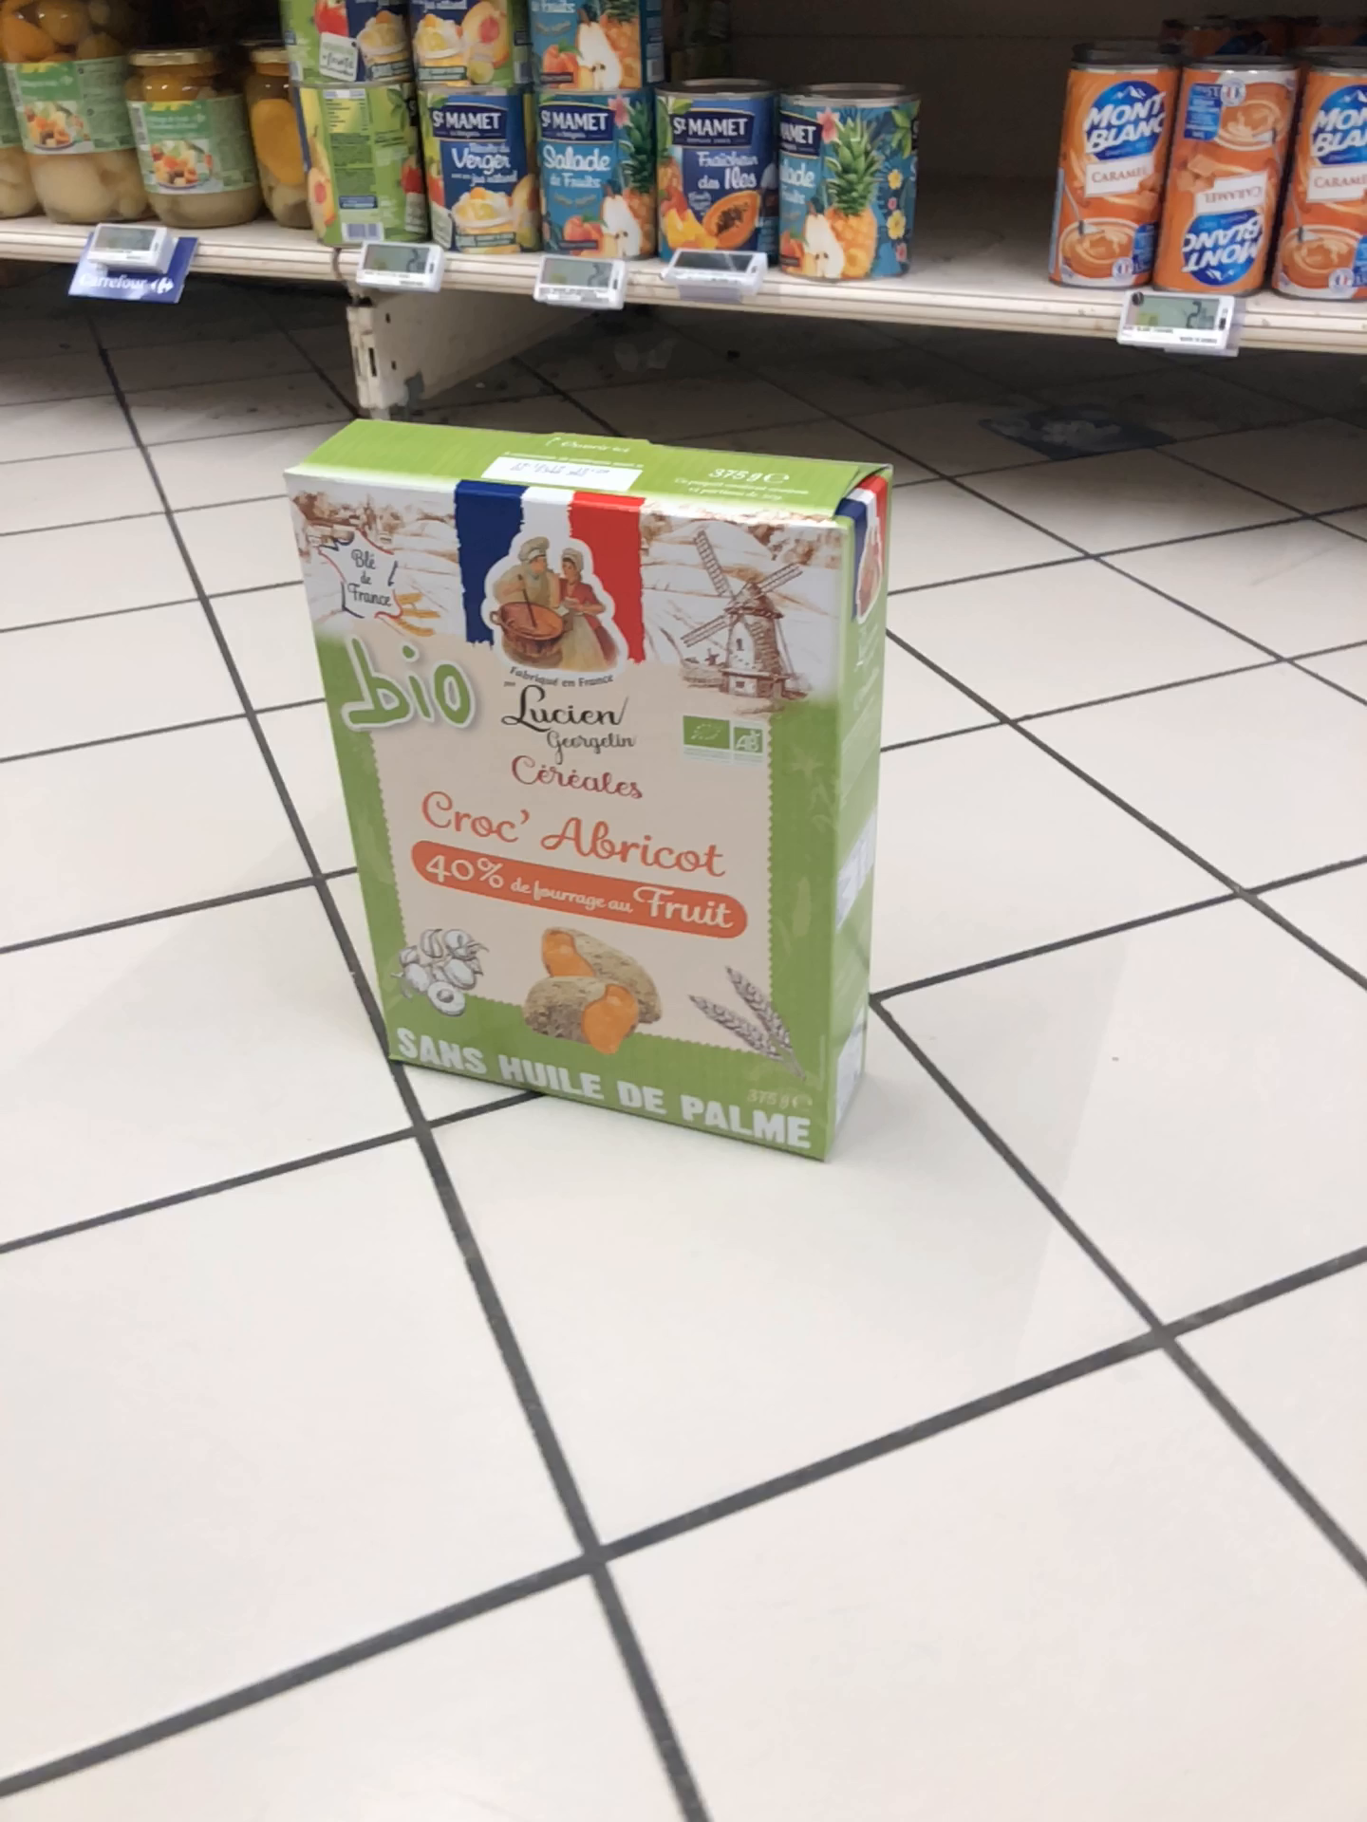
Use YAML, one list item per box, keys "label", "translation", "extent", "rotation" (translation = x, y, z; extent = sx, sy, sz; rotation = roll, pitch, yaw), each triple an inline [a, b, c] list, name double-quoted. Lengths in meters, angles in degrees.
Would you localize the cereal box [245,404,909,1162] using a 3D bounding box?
- label: "cereal box"
  translation: [-0.033, -0.045, 0.542]
  extent: [0.200, 0.239, 0.070]
  rotation: [11, 35, 17]
